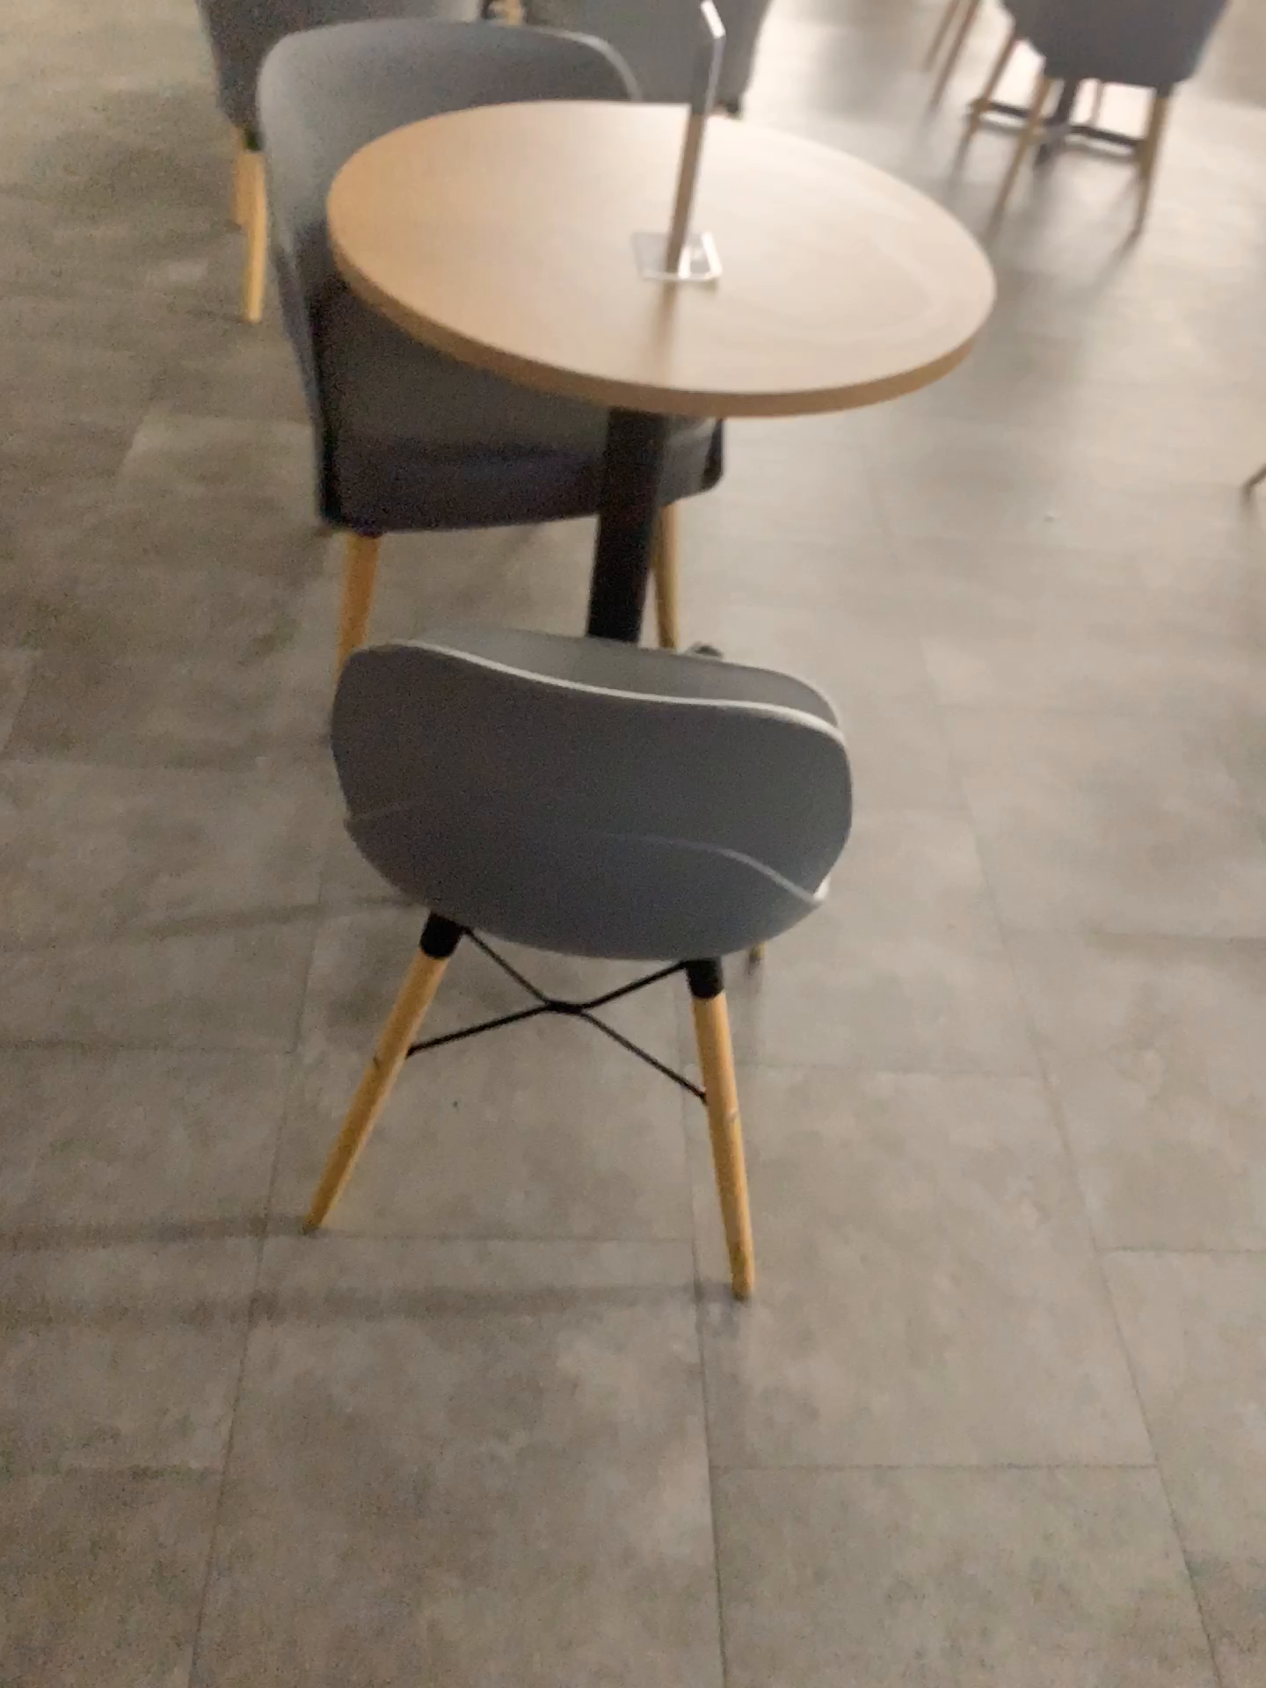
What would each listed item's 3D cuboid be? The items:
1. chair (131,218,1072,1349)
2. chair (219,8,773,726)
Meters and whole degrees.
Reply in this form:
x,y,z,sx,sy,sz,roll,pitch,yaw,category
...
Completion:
x,y,z,sx,sy,sz,roll,pitch,yaw,category
-0.033,-0.005,1.162,0.505,0.802,0.525,9,46,0,chair
-0.223,-0.650,1.825,0.556,0.753,0.514,-9,49,-16,chair
